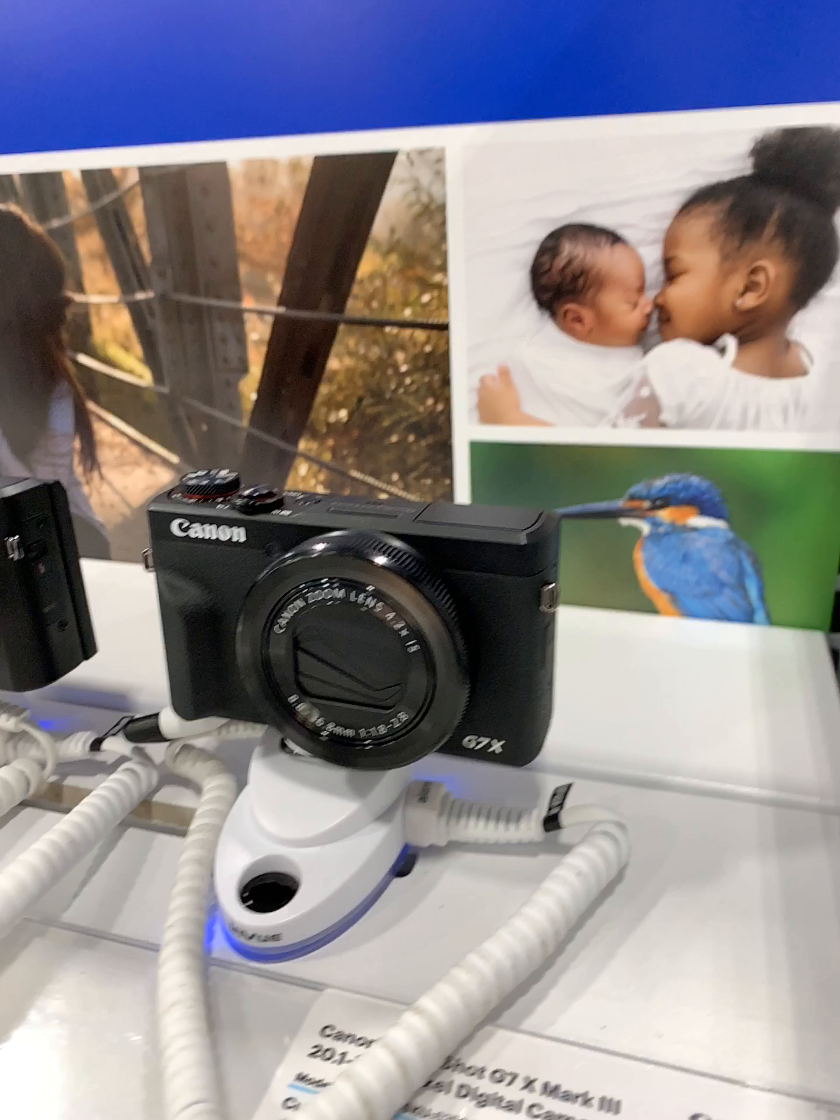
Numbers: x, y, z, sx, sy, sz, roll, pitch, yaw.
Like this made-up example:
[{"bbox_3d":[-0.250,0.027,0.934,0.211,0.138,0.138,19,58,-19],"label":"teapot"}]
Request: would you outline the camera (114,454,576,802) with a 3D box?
[{"bbox_3d":[-0.018,0.013,0.234,0.110,0.070,0.040,5,21,19],"label":"camera"}]
